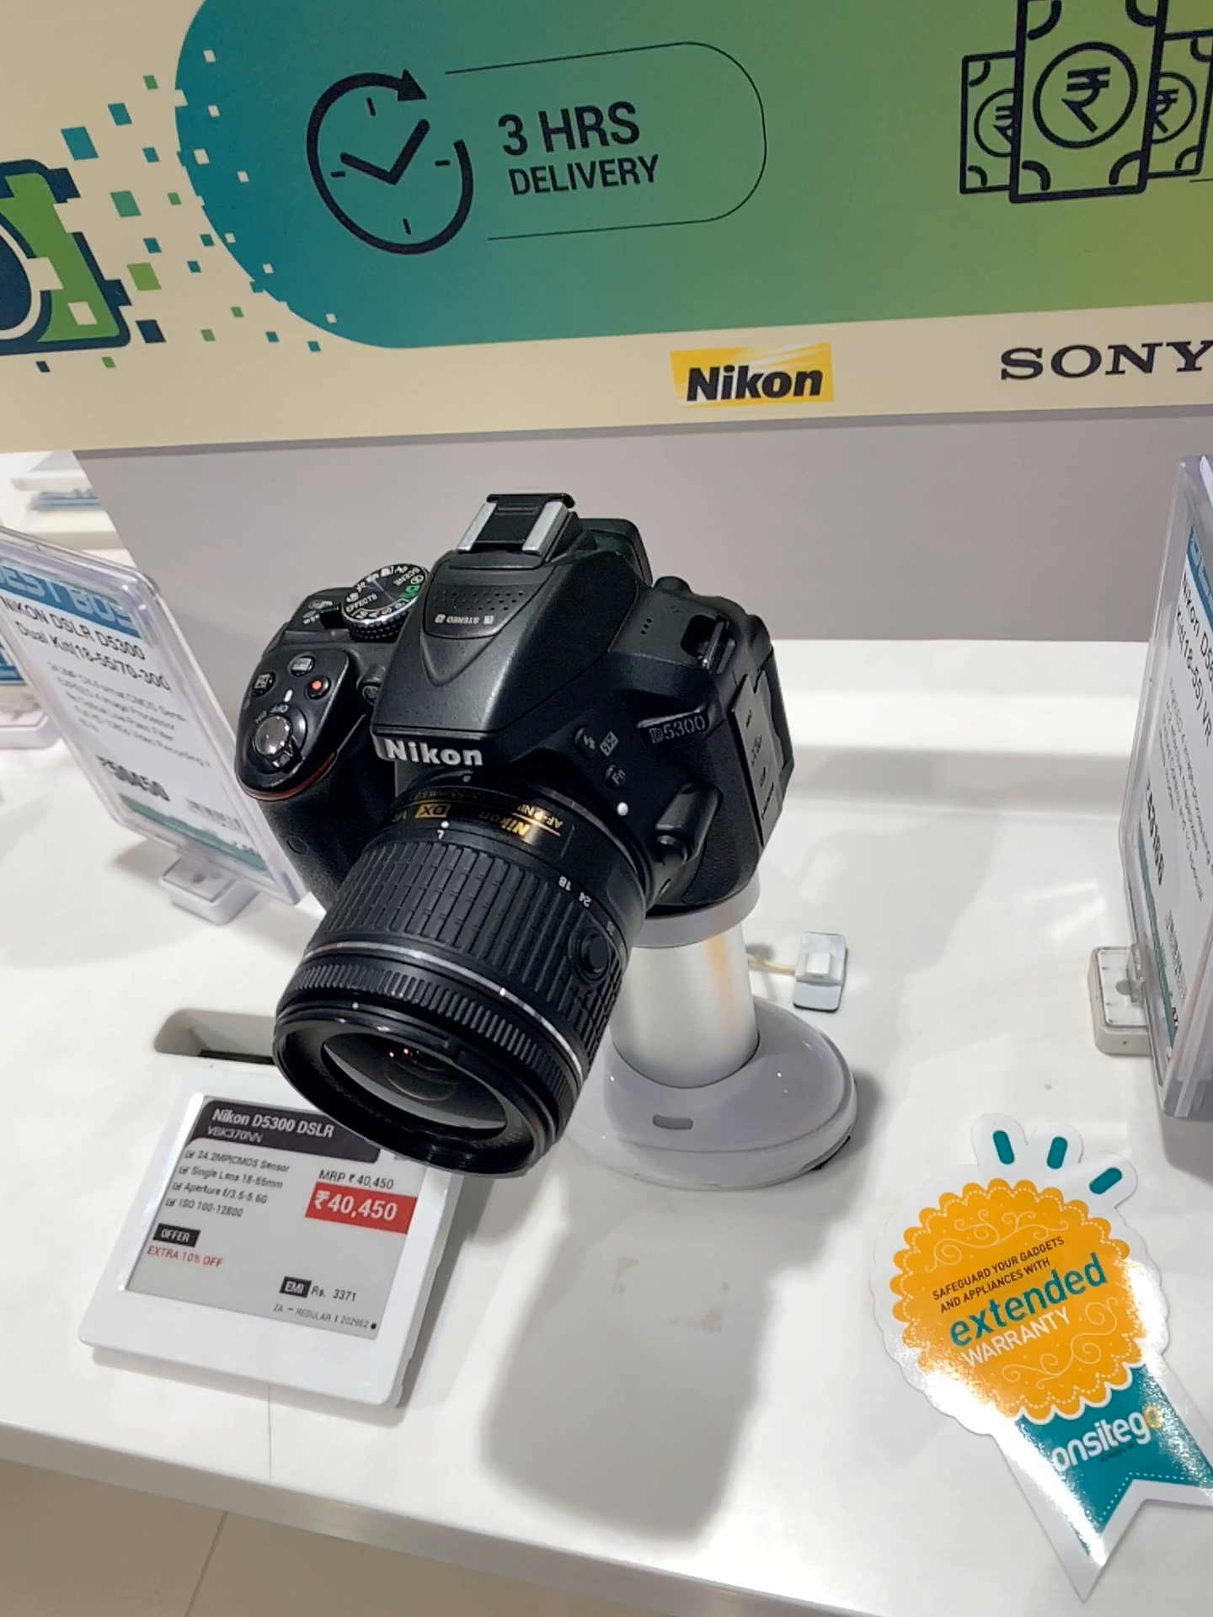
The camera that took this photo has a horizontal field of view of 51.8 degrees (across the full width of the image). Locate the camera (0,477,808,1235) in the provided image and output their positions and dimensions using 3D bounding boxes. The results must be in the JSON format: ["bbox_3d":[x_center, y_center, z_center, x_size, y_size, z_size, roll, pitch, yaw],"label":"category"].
[{"bbox_3d":[-0.028,0.003,0.258,0.118,0.082,0.123,3,46,17],"label":"camera"}]
